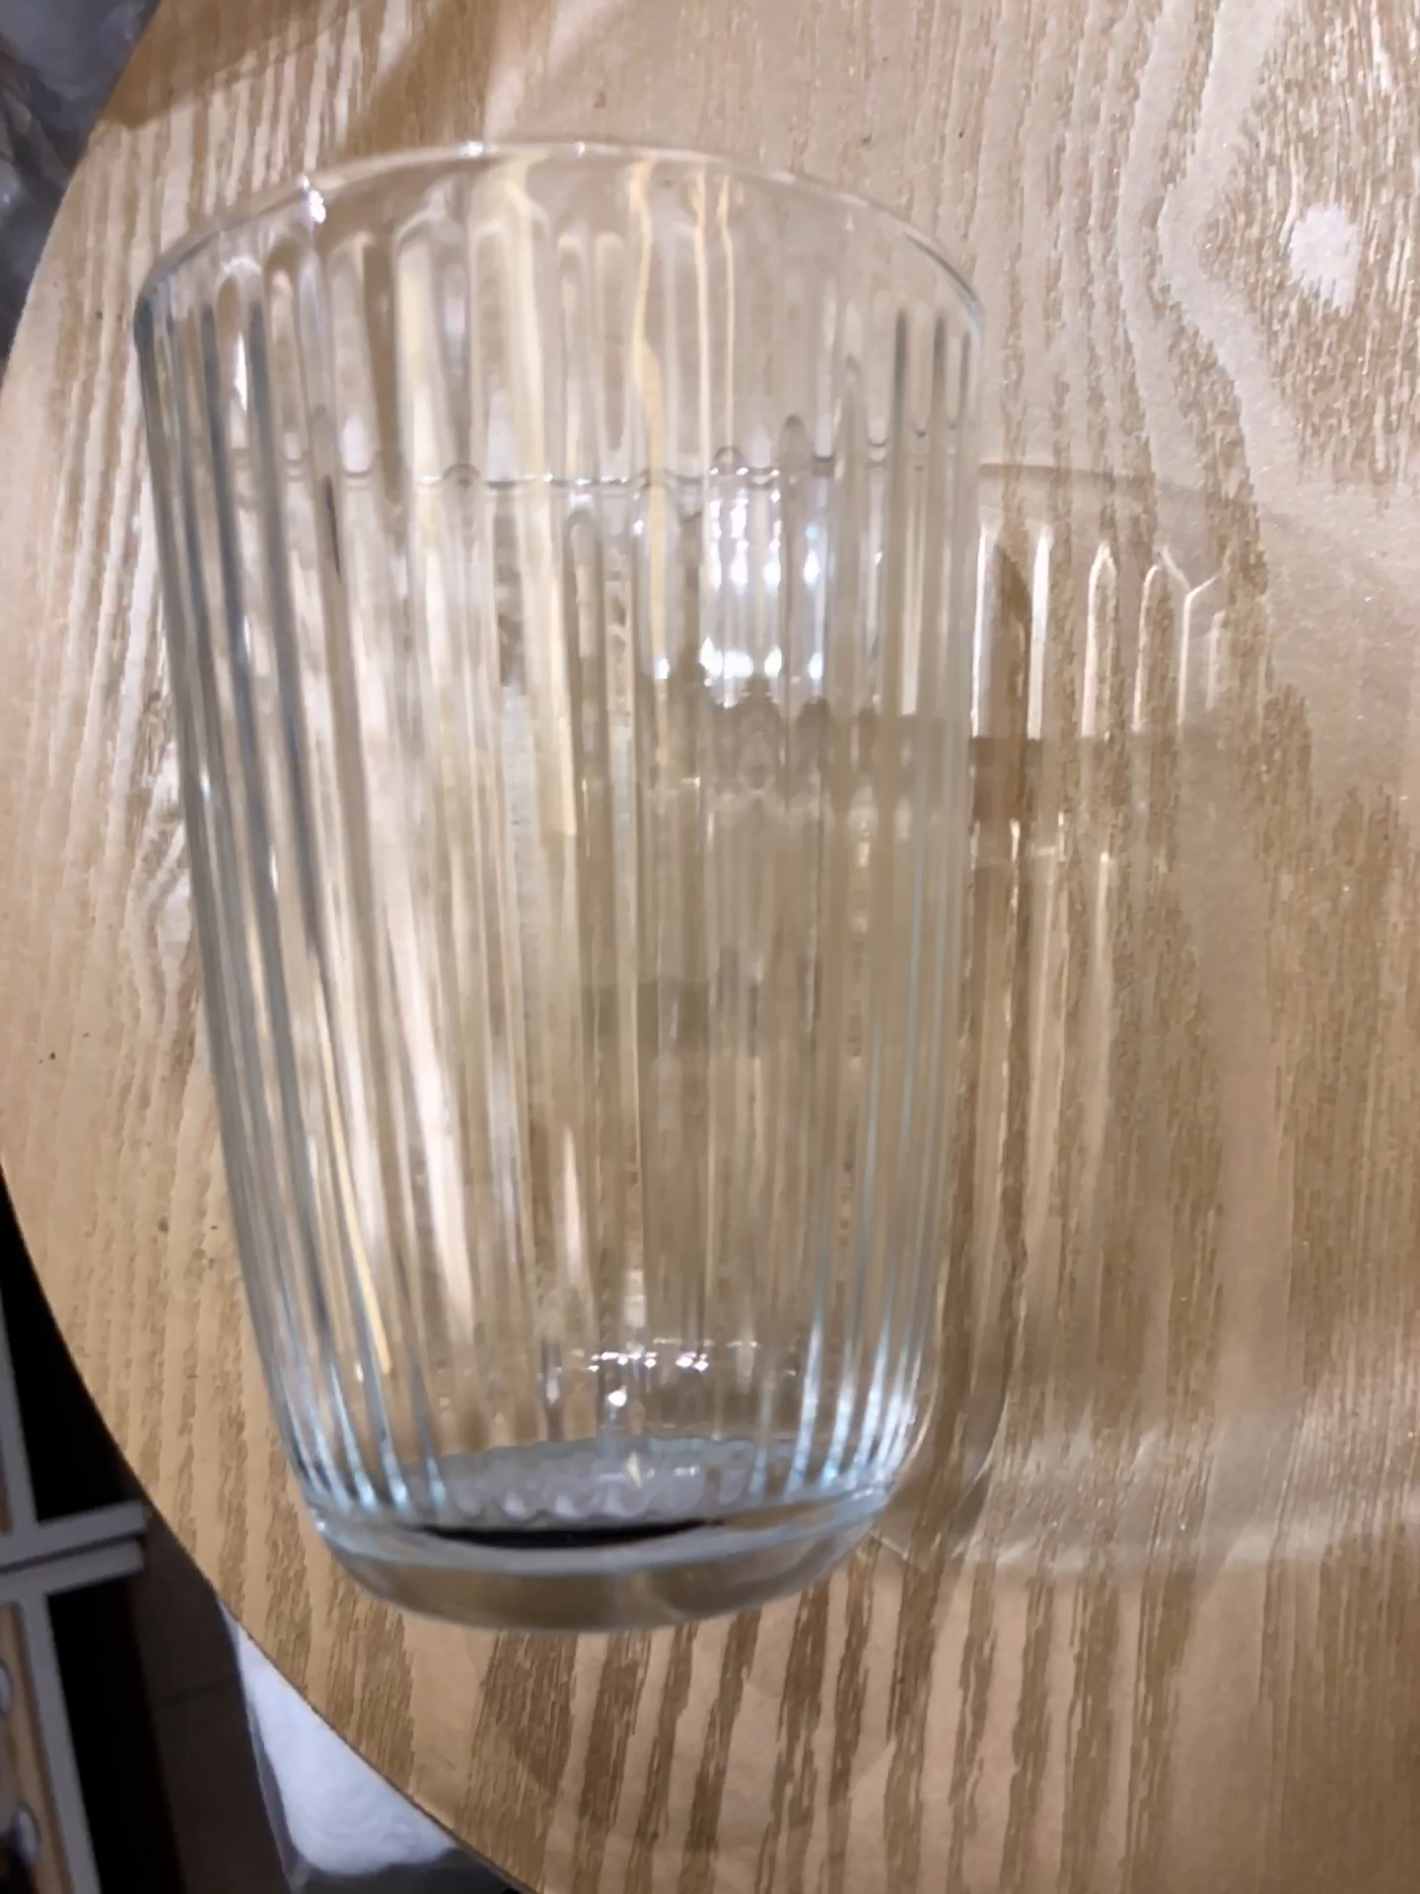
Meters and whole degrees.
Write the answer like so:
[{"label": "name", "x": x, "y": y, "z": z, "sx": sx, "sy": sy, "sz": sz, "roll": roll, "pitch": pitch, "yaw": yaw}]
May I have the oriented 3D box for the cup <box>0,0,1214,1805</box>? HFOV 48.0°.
[{"label": "cup", "x": -0.007, "y": -0.004, "z": 0.159, "sx": 0.090, "sy": 0.070, "sz": 0.130, "roll": -5, "pitch": 80, "yaw": 27}]
